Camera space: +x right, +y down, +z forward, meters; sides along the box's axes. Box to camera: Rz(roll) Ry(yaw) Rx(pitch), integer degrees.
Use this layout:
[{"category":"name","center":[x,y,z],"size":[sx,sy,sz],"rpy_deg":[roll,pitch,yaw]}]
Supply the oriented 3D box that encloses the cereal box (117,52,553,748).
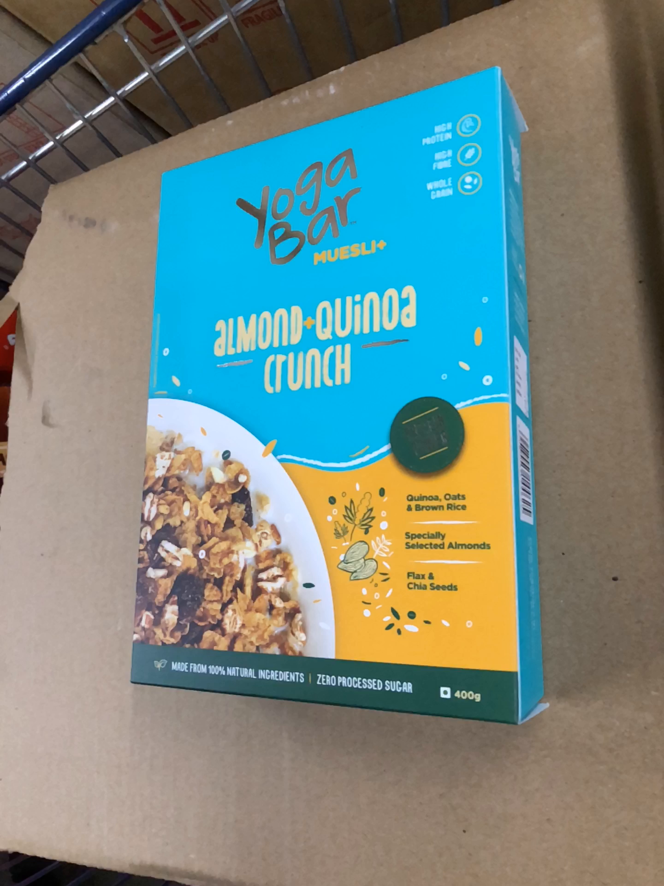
[{"category":"cereal box","center":[0.000,-0.013,0.313],"size":[0.160,0.070,0.240],"rpy_deg":[-4,80,25]}]
